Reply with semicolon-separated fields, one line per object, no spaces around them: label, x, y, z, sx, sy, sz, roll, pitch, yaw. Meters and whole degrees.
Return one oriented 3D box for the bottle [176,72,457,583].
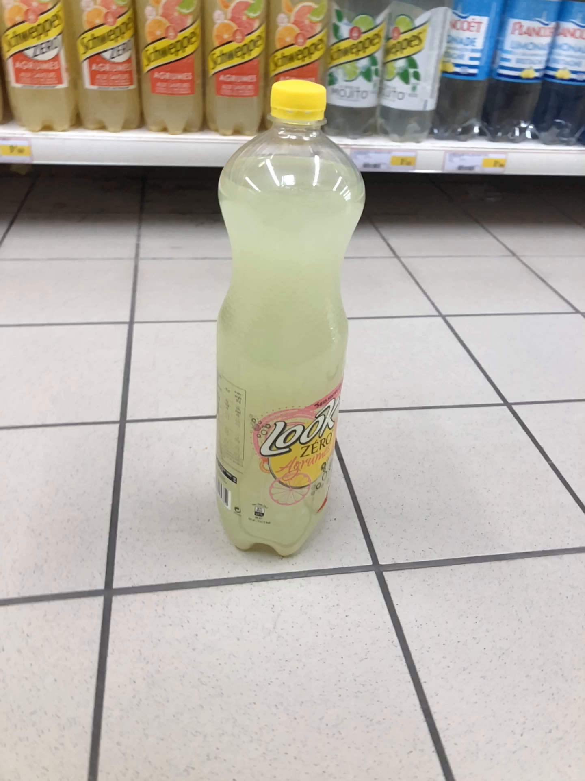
bottle;0.001;-0.033;0.416;0.110;0.298;0.100;-15;38;-28
